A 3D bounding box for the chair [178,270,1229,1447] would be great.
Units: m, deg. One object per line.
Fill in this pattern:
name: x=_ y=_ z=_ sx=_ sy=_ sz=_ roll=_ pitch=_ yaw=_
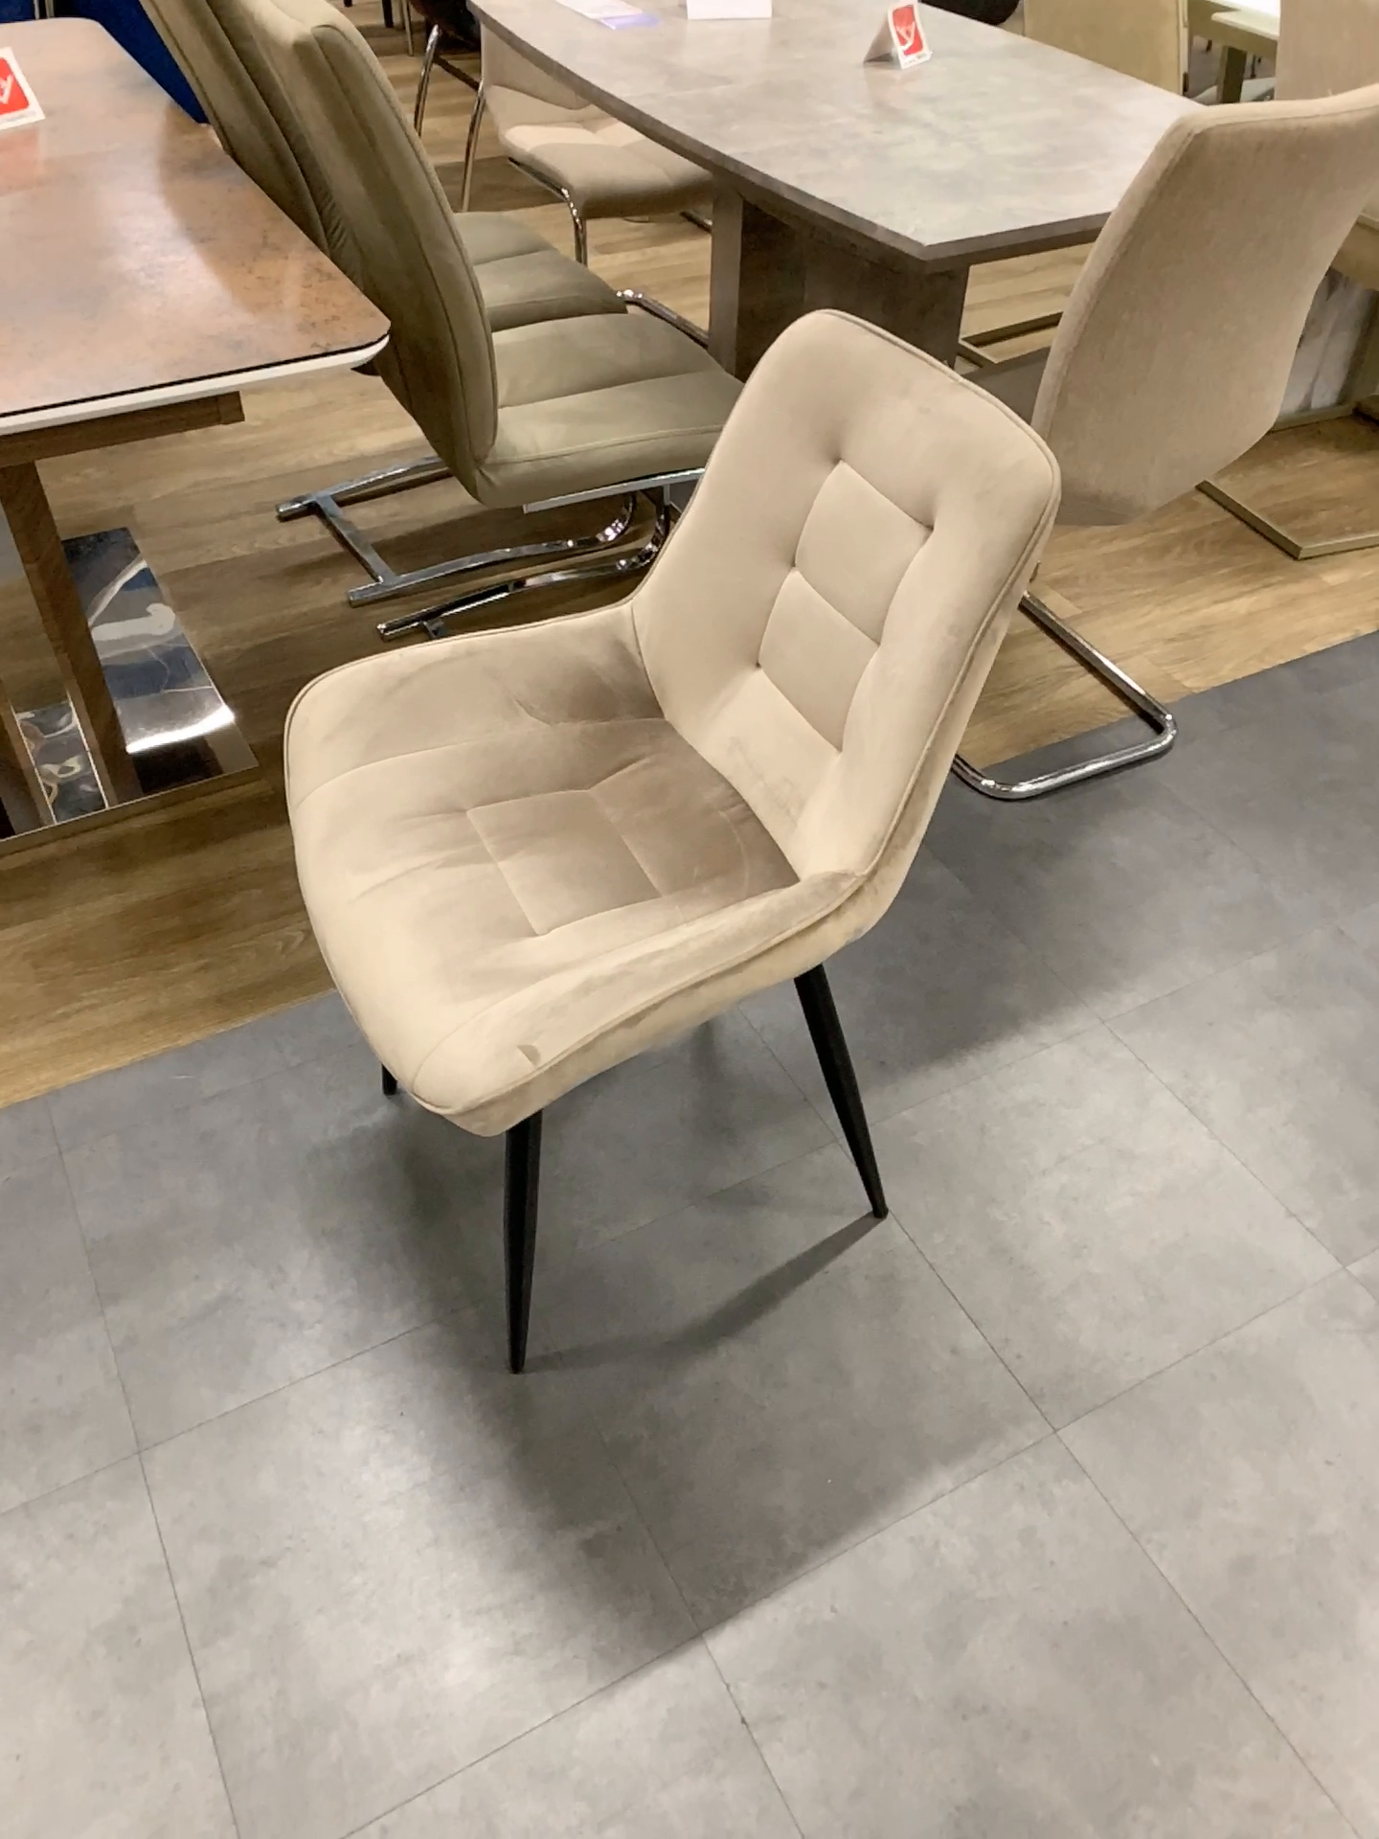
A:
chair: x=-0.028 y=-0.062 z=1.348 sx=0.611 sy=0.818 sz=0.569 roll=-18 pitch=46 yaw=-19
